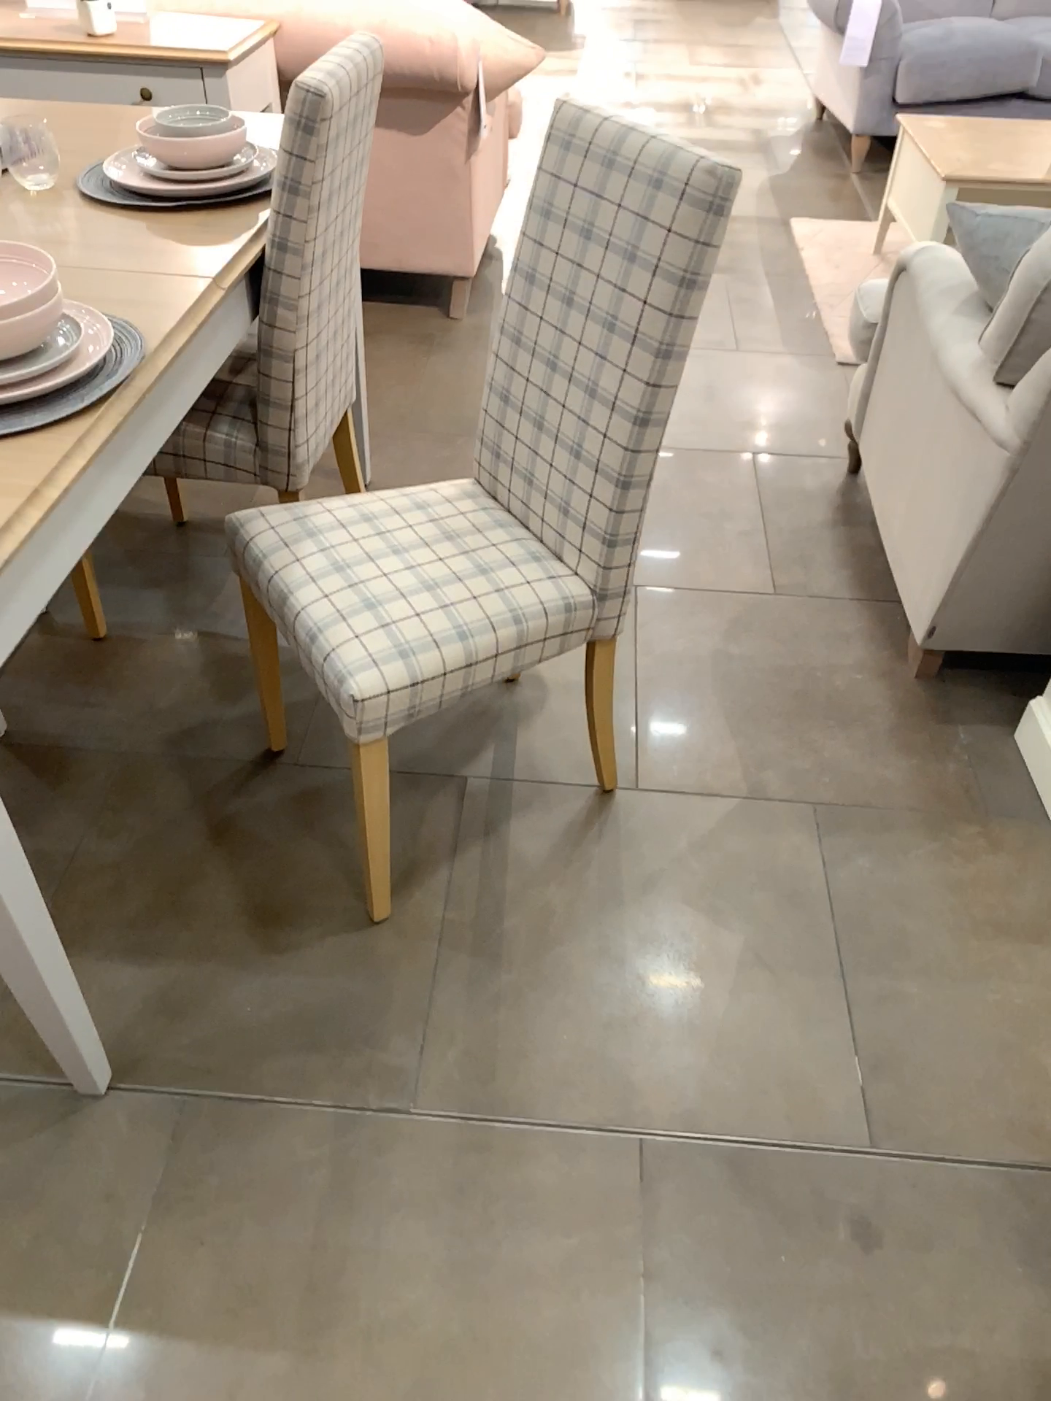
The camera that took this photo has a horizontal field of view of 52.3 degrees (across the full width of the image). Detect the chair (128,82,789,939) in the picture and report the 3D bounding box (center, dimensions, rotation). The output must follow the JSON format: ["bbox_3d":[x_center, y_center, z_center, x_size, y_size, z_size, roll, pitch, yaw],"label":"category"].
[{"bbox_3d":[-0.088,-0.236,1.455,0.568,0.937,0.431,-23,47,-25],"label":"chair"}]
